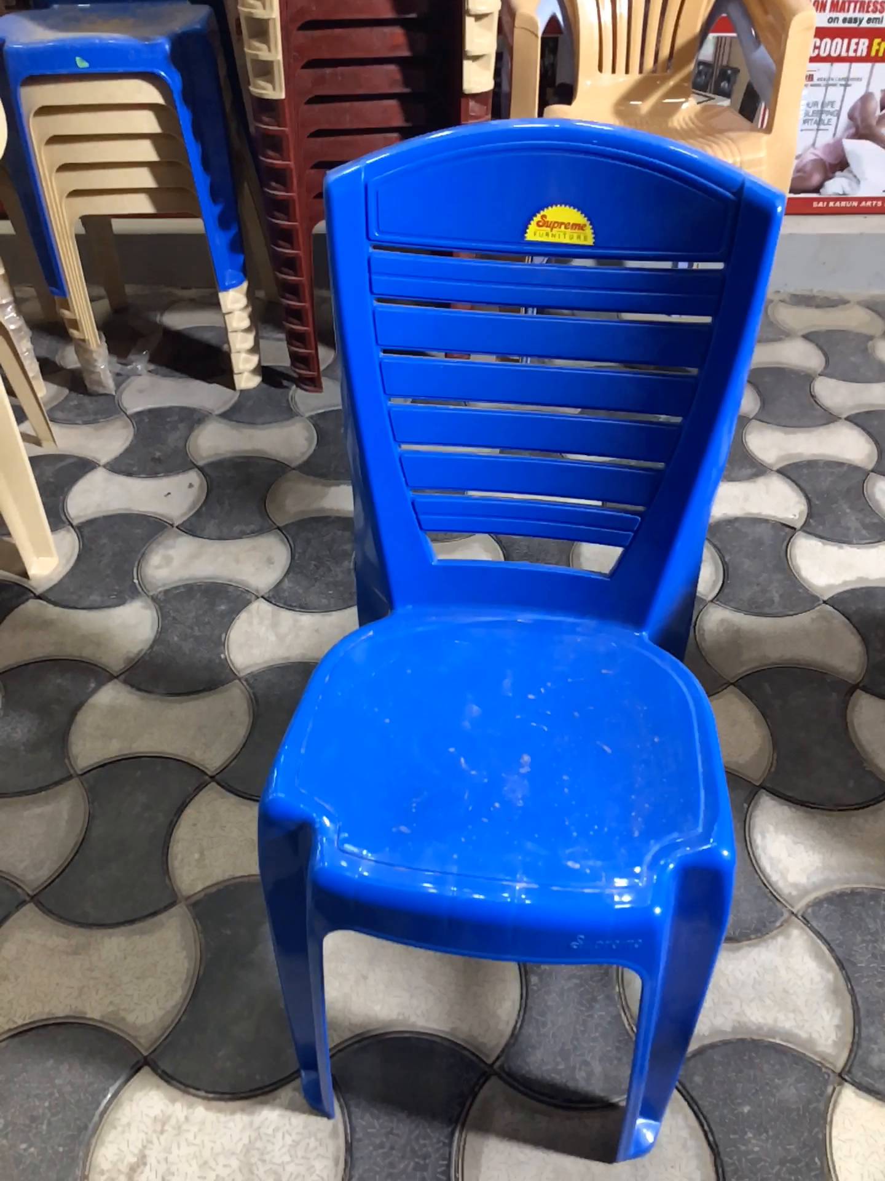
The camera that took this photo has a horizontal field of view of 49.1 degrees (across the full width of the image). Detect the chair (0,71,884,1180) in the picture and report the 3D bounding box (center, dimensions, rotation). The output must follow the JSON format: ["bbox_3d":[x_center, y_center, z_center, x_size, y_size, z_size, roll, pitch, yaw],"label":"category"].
[{"bbox_3d":[0.042,0.044,0.789,0.470,0.725,0.514,6,39,7],"label":"chair"}]
